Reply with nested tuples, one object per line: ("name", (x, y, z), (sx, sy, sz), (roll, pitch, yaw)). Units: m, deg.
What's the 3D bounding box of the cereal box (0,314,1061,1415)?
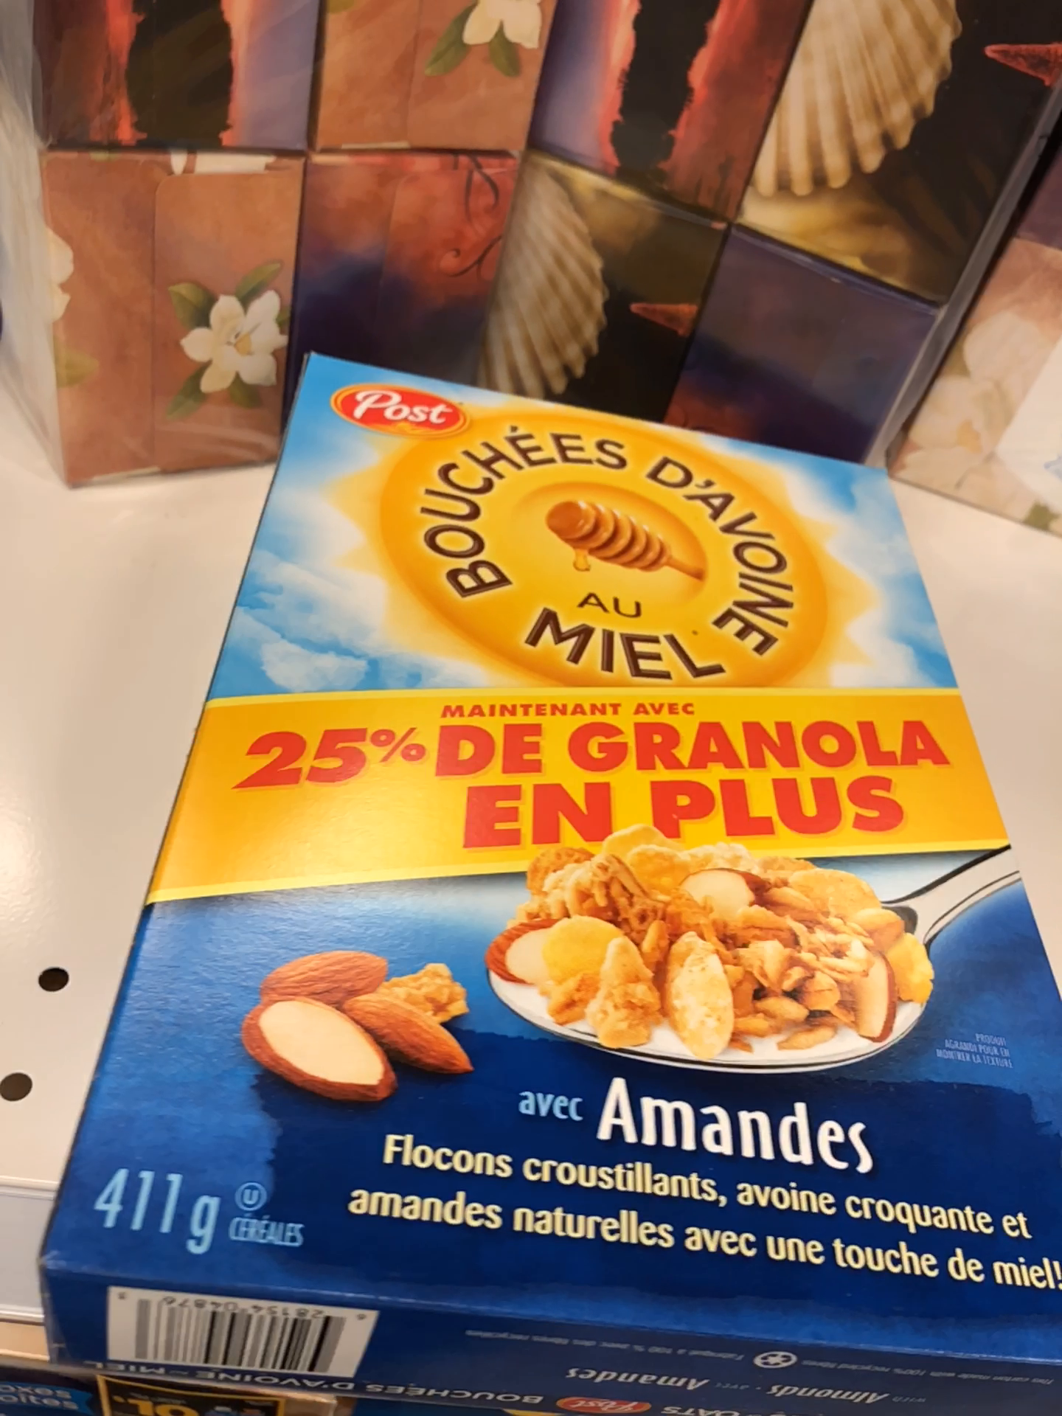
("cereal box", (0.014, 0.015, 0.292), (0.210, 0.050, 0.271), (10, 45, -9))
